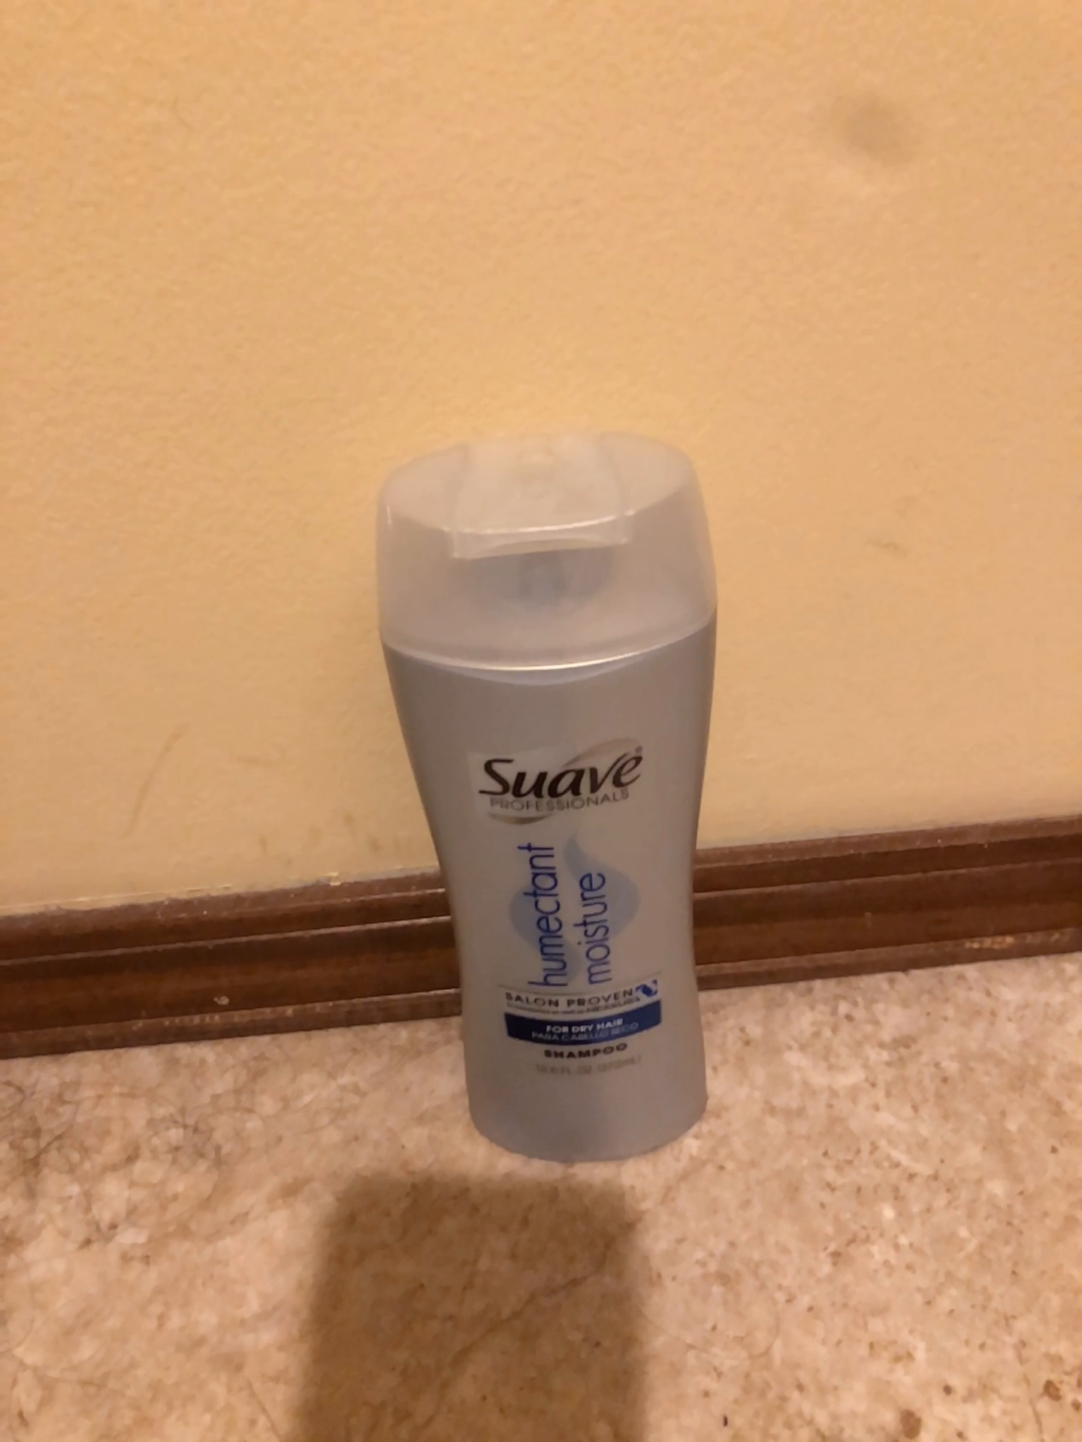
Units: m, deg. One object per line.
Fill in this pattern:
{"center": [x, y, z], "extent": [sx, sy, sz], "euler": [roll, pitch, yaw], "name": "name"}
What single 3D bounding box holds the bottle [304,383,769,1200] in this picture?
{"center": [0.004, 0.032, 0.291], "extent": [0.080, 0.209, 0.050], "euler": [-6, 39, -2], "name": "bottle"}
